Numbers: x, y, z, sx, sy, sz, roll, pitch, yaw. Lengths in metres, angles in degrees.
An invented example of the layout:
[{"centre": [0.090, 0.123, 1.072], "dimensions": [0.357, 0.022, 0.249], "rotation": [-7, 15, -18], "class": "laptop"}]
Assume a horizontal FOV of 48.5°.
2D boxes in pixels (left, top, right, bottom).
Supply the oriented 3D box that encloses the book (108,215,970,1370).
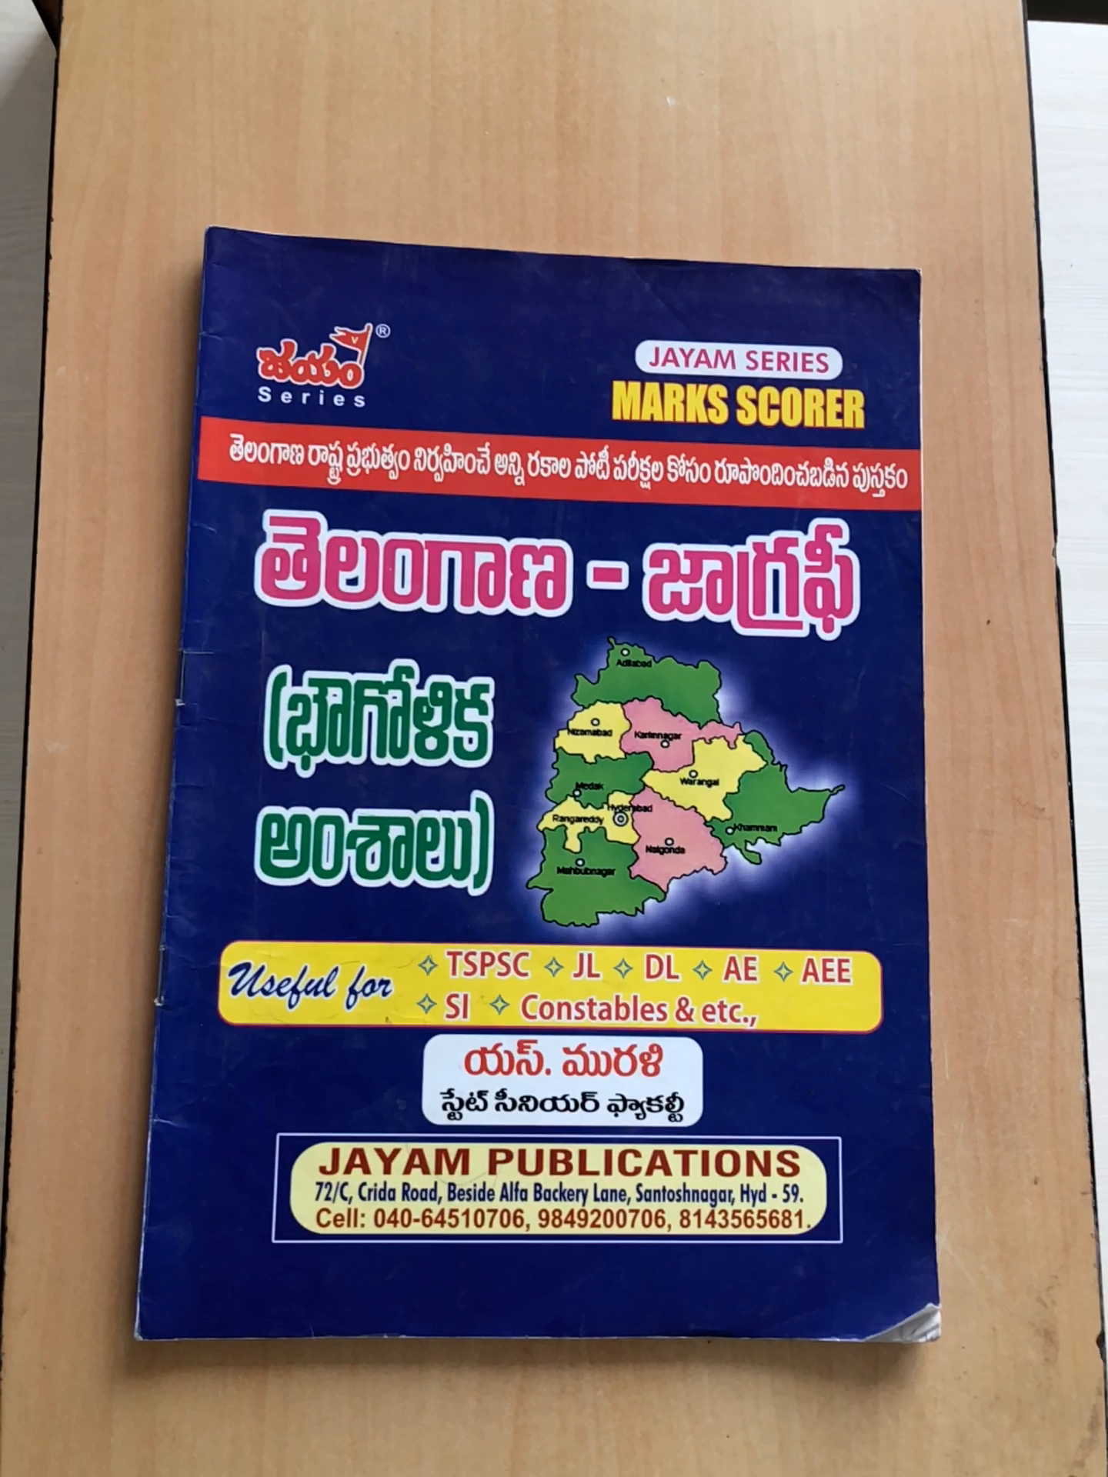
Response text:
[{"centre": [0.001, 0.010, 0.324], "dimensions": [0.200, 0.040, 0.280], "rotation": [2, 82, -4], "class": "book"}]
